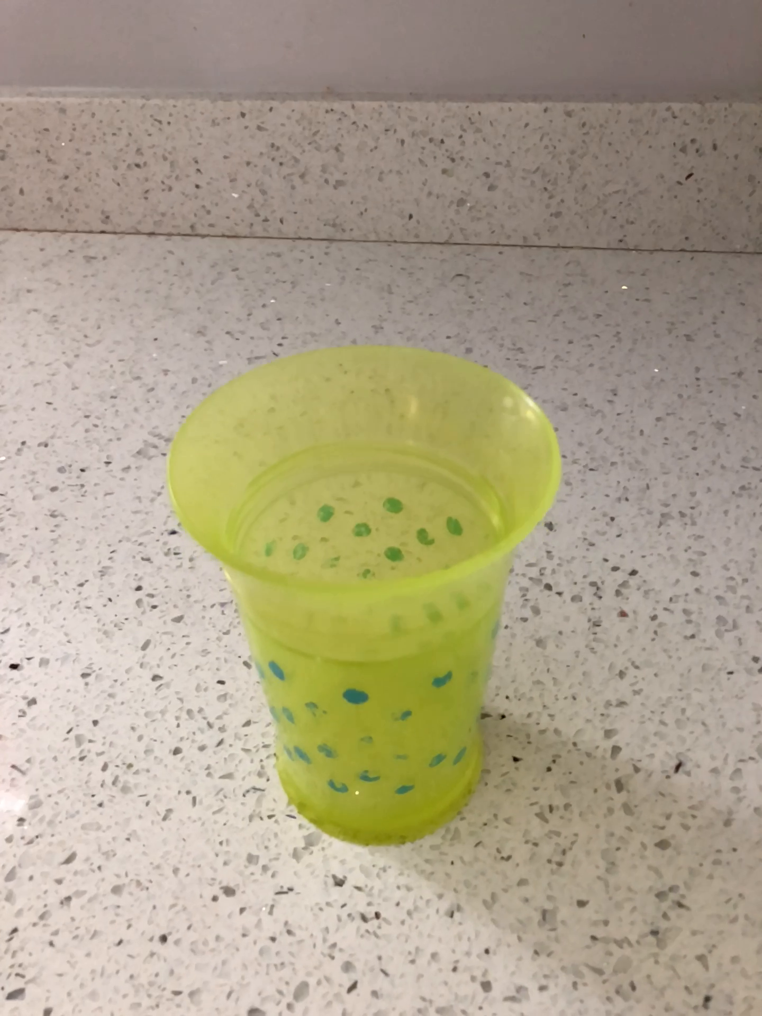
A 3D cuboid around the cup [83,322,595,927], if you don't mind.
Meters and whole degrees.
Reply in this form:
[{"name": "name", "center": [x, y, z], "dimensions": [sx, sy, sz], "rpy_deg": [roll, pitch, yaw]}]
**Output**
[{"name": "cup", "center": [-0.004, 0.028, 0.208], "dimensions": [0.078, 0.109, 0.073], "rpy_deg": [-2, 41, 1]}]
